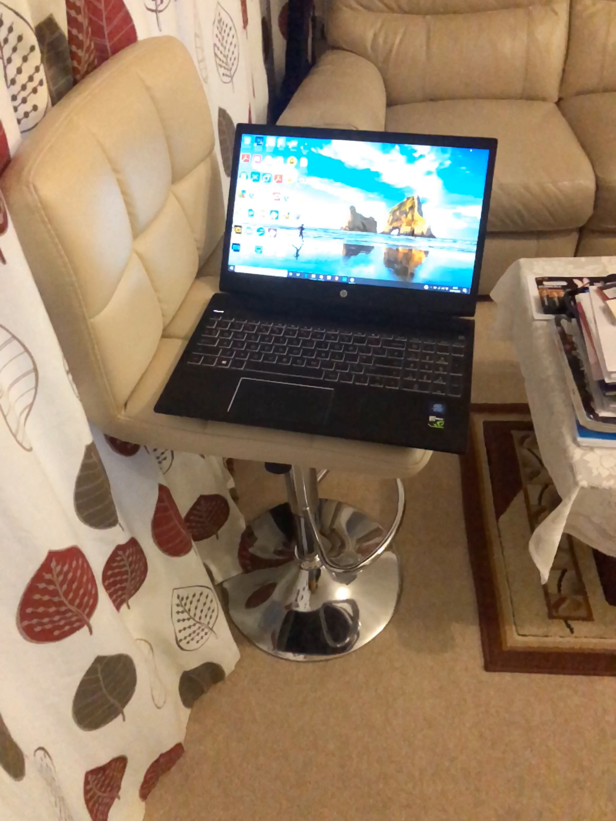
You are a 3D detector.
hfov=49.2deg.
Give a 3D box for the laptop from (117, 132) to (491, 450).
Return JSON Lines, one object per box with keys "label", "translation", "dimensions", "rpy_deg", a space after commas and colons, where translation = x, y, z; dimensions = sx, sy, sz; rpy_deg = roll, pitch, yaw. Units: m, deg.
{"label": "laptop", "translation": [0.032, -0.172, 0.814], "dimensions": [0.348, 0.159, 0.403], "rpy_deg": [7, 44, 10]}
